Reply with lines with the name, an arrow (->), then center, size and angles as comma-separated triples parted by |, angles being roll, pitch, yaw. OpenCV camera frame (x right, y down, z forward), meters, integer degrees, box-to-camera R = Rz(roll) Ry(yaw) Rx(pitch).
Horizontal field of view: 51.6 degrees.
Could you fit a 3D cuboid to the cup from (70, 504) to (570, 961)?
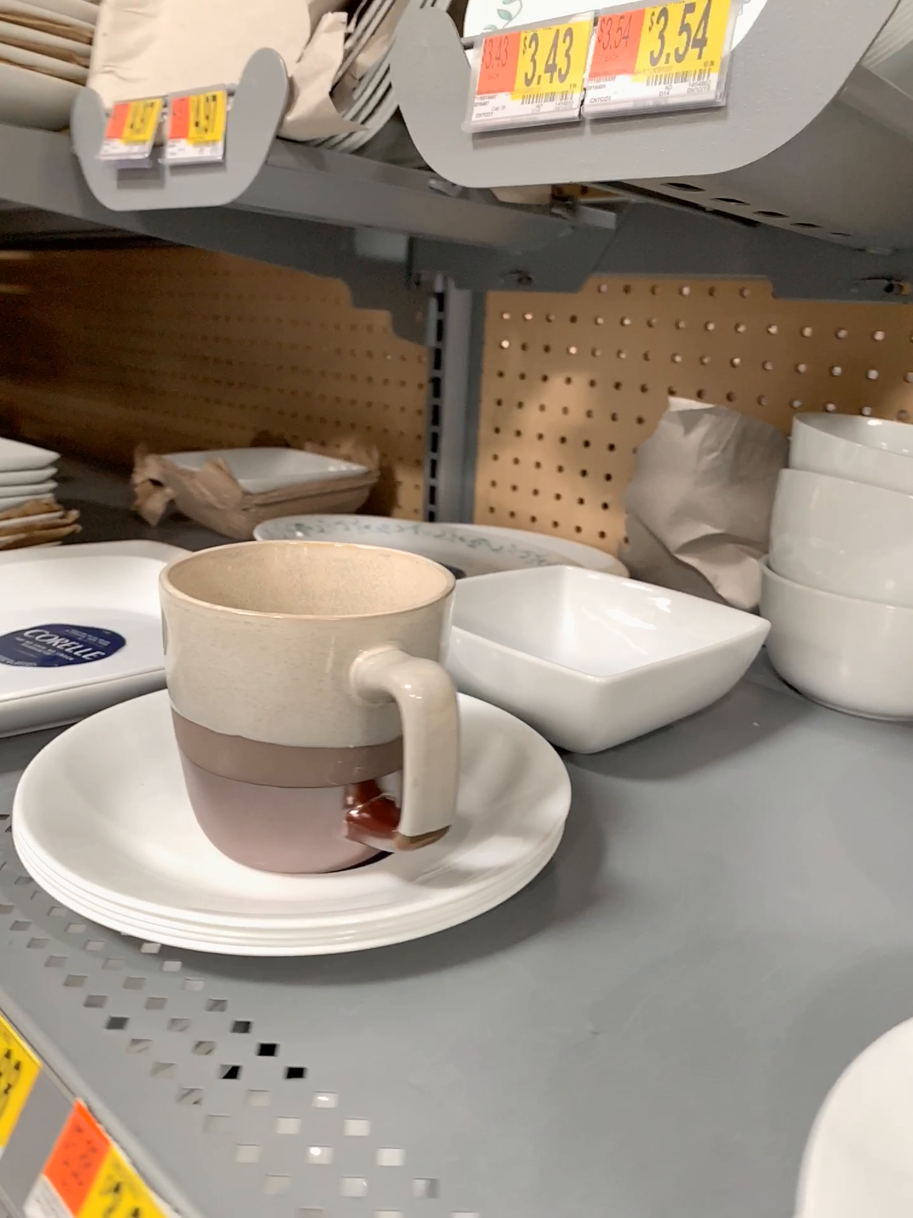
cup -> -0.051, 0.027, 0.334 | 0.107, 0.096, 0.138 | -13, 23, -43
